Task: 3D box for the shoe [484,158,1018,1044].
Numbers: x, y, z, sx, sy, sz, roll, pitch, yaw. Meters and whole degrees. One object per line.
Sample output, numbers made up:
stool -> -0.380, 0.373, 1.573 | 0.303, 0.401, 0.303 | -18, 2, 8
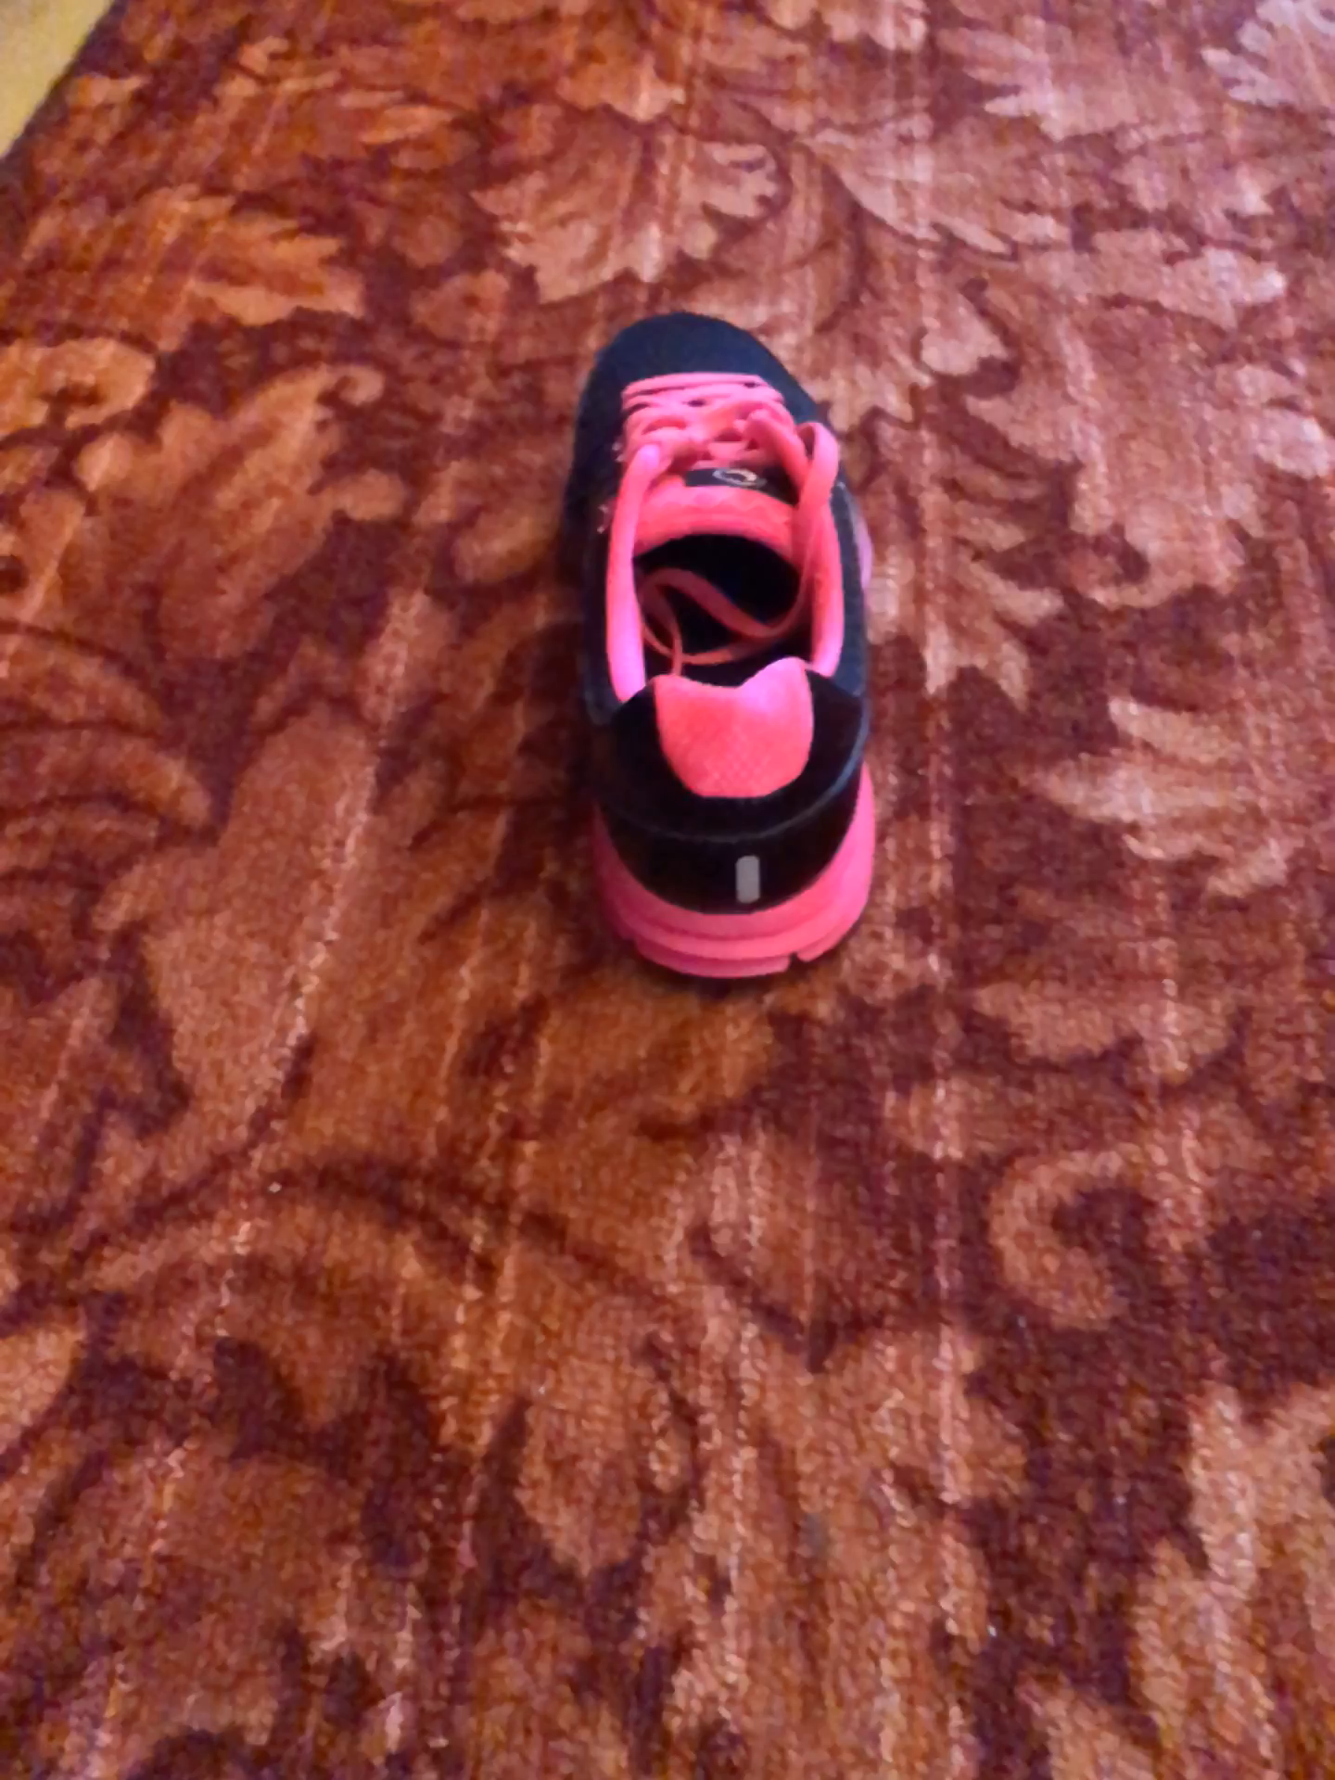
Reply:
shoe -> 0.018, -0.092, 0.422 | 0.110, 0.100, 0.251 | -2, 53, 2
